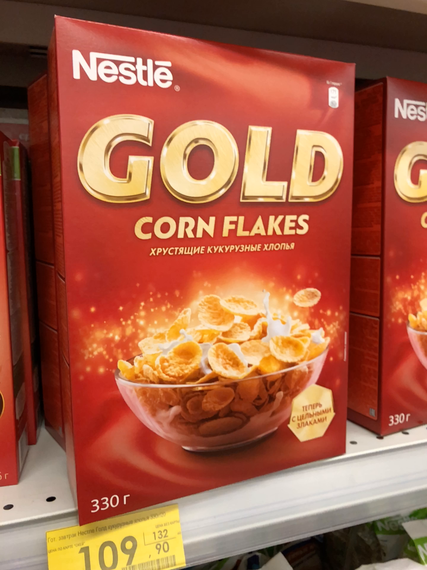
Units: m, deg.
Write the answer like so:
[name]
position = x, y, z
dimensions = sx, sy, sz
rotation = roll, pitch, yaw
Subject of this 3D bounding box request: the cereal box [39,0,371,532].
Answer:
[cereal box]
position = 0.000, -0.010, 0.316
dimensions = 0.200, 0.279, 0.060
rotation = -4, 9, -24
